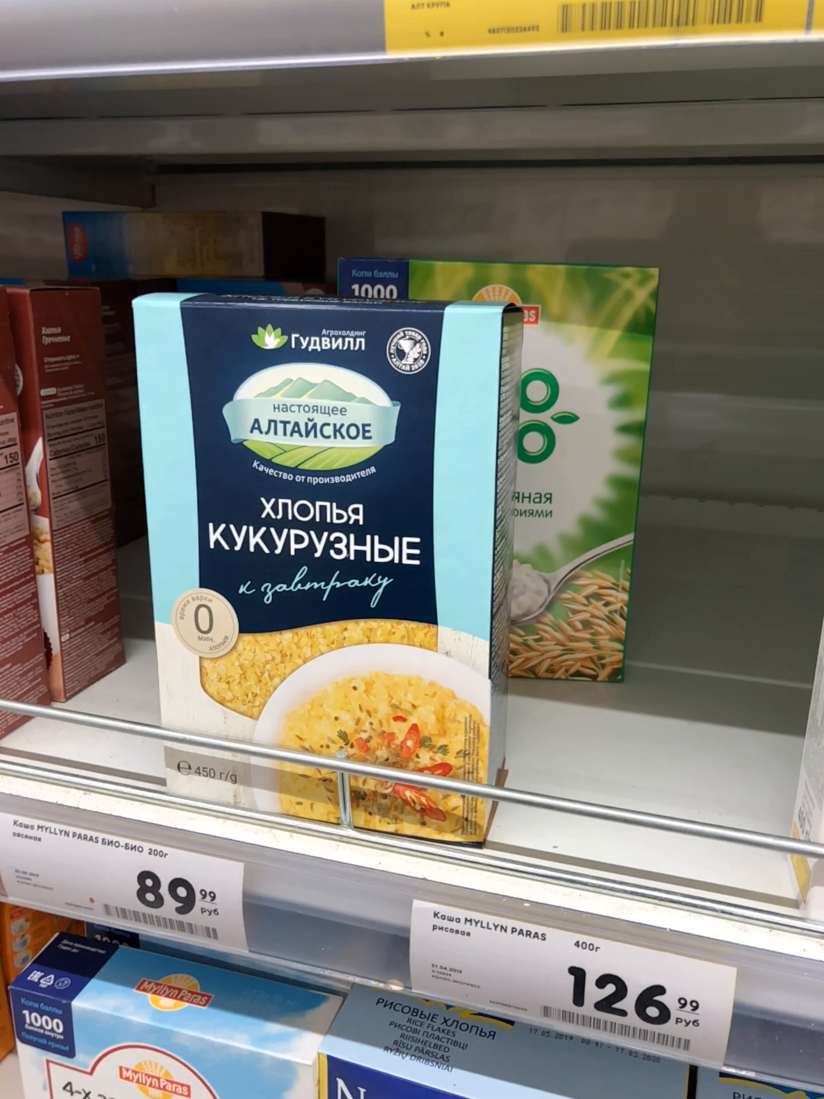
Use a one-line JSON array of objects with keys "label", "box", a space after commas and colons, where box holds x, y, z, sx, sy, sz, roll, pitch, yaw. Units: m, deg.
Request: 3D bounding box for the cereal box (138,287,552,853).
[{"label": "cereal box", "box": [-0.022, 0.002, 0.341, 0.130, 0.189, 0.060, 5, 17, 14]}]
